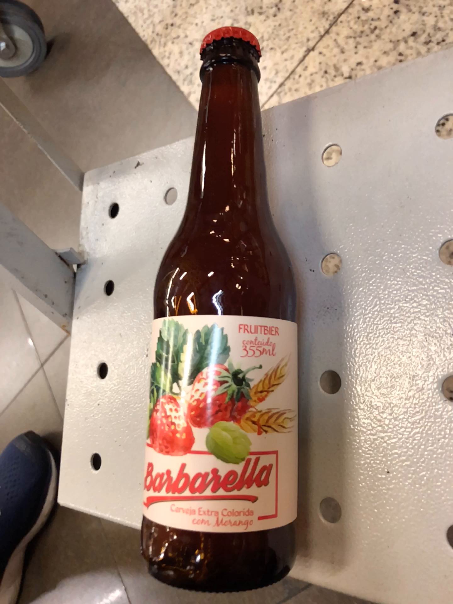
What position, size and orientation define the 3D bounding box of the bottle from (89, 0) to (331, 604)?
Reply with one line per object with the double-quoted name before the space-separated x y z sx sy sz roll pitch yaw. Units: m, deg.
"bottle" -0.005 -0.014 0.214 0.070 0.060 0.240 -7 77 37
